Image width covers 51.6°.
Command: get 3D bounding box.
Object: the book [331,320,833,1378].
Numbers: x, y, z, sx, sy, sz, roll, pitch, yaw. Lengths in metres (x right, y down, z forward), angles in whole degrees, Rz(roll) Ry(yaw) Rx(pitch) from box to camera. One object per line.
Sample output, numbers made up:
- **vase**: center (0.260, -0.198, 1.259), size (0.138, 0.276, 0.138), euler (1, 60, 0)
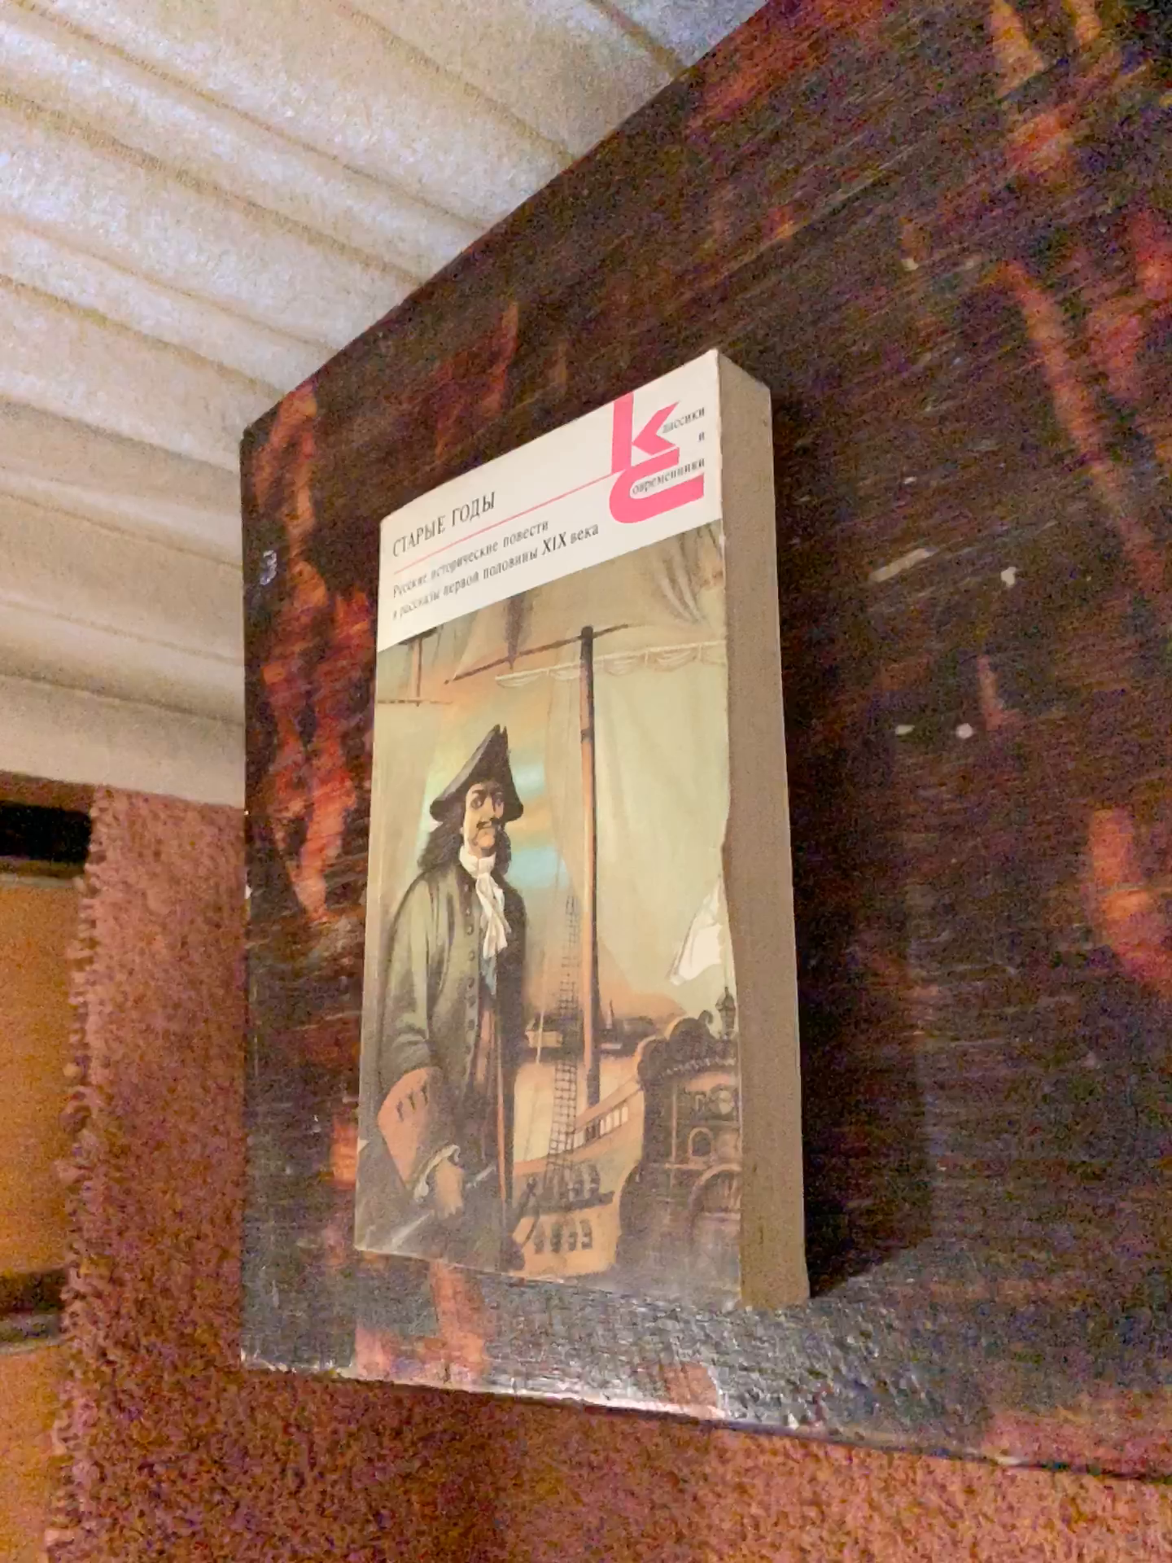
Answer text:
- **book**: center (-0.008, 0.014, 0.276), size (0.124, 0.026, 0.197), euler (-11, 74, 44)
